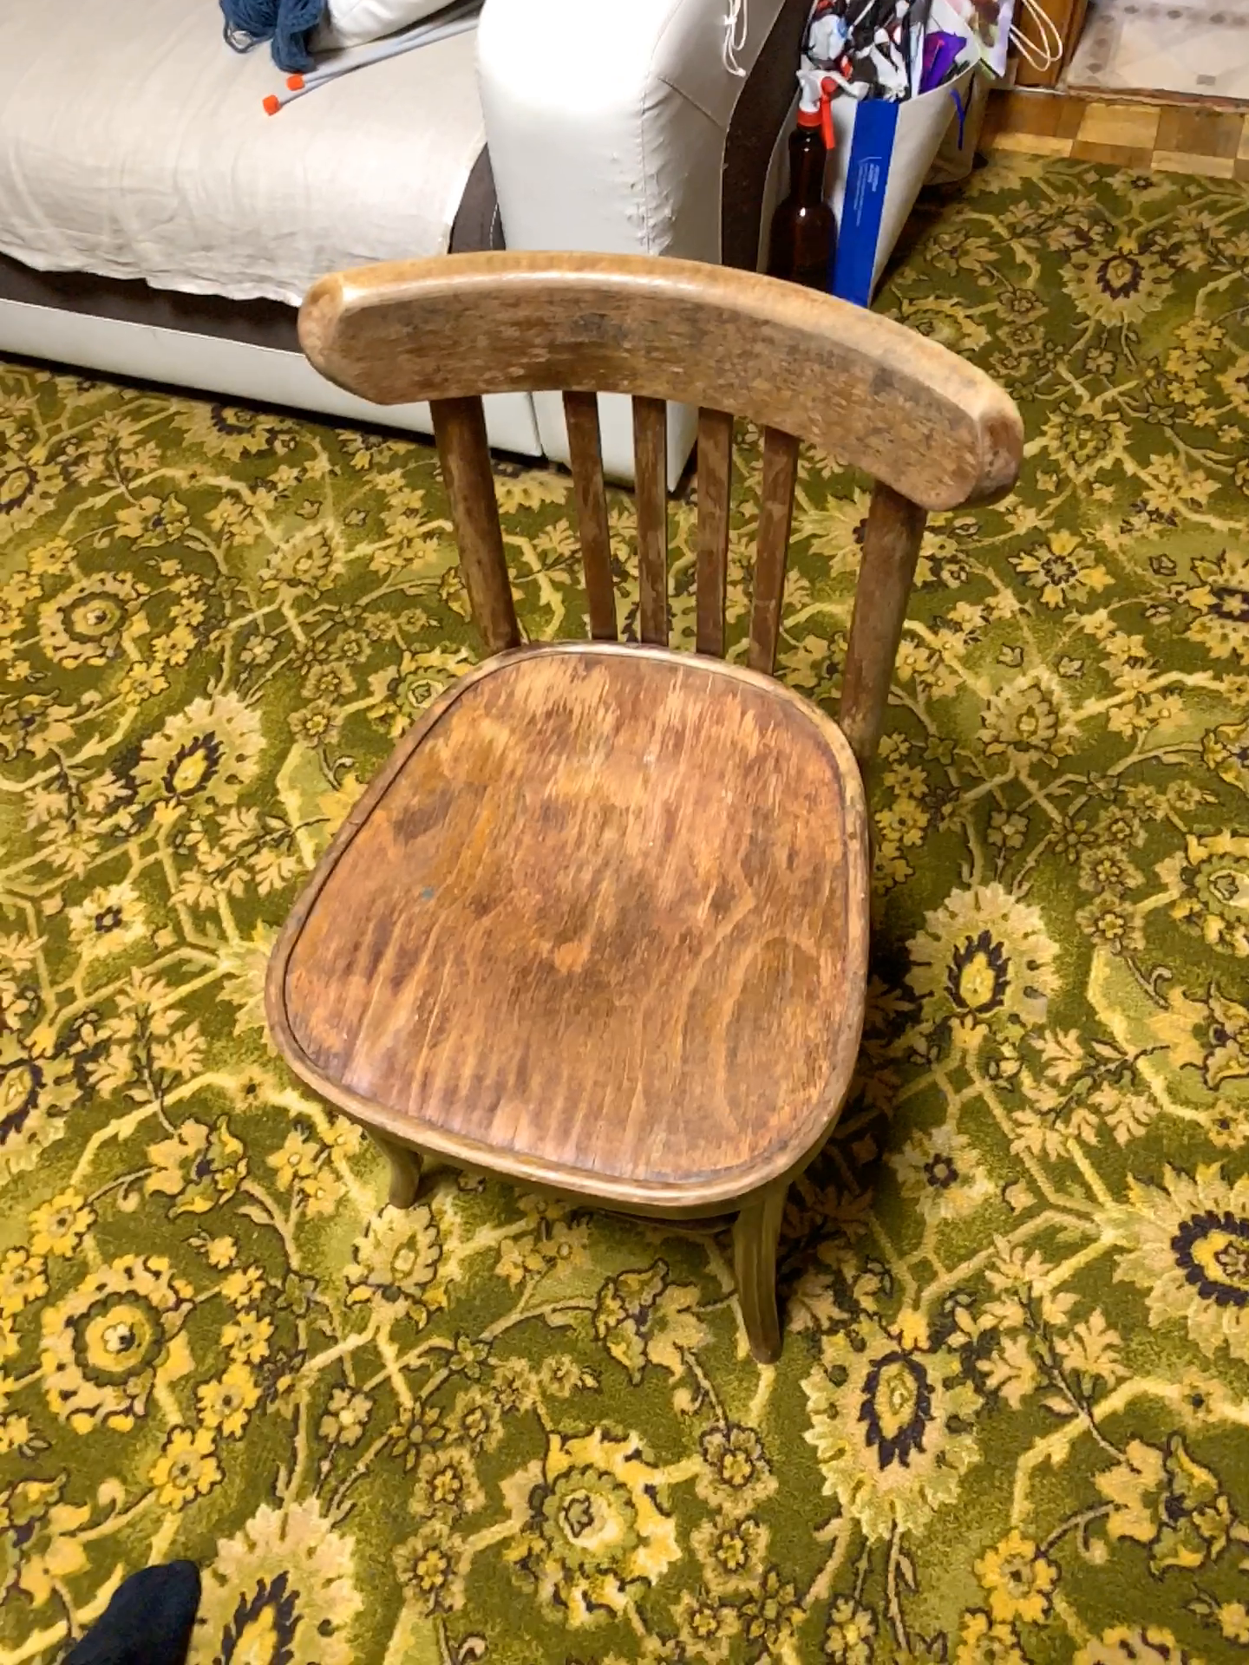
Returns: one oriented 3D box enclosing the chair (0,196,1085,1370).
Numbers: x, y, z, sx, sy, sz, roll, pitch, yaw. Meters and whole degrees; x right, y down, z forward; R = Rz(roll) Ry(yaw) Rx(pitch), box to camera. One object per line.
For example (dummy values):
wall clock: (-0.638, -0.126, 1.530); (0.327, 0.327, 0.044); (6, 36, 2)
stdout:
chair: (-0.009, 0.049, 0.890); (0.400, 0.736, 0.412); (17, 64, 14)
